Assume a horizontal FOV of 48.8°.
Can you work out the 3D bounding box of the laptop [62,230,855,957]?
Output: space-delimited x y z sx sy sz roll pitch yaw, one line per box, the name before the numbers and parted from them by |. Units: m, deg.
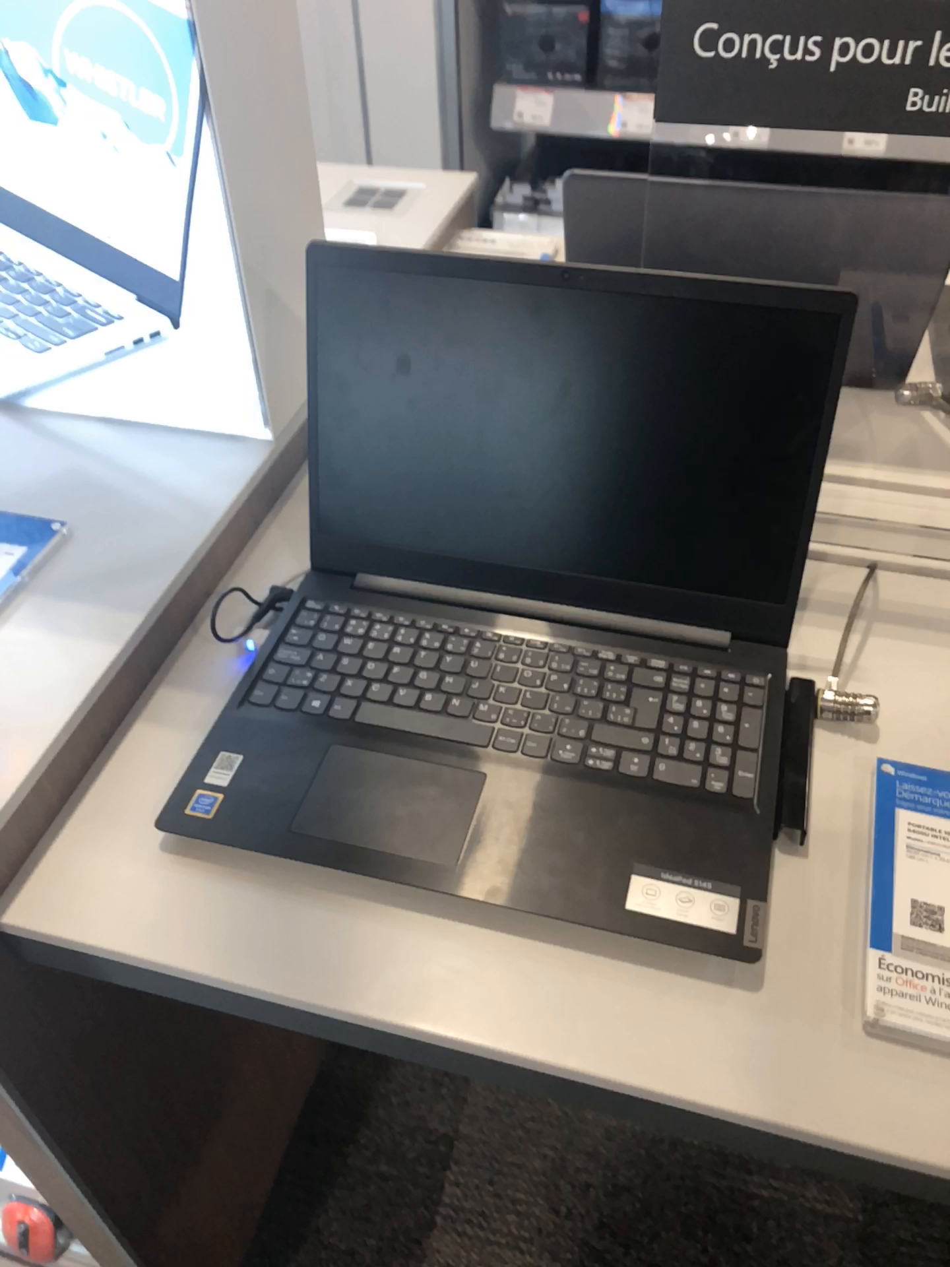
laptop | 0.020 -0.049 0.626 0.346 0.213 0.323 10 46 13
